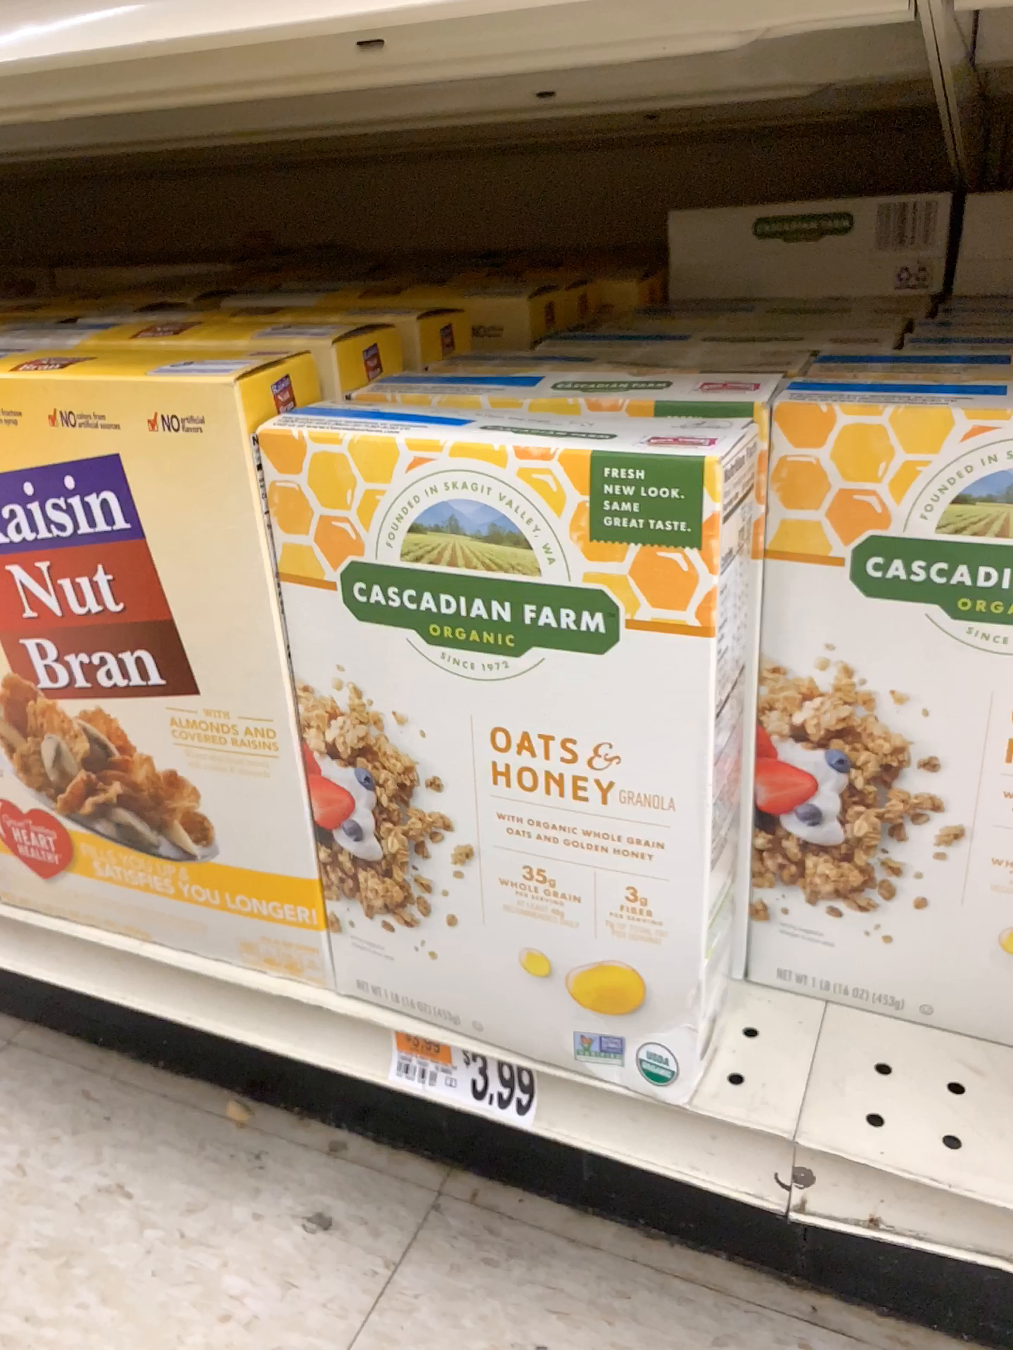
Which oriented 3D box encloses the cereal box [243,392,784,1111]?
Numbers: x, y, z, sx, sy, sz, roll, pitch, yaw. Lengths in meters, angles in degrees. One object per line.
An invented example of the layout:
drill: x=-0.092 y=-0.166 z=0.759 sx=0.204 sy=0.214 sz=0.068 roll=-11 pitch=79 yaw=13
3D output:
cereal box: x=0.005 y=0.023 z=0.376 sx=0.160 sy=0.229 sz=0.060 roll=9 pitch=27 yaw=25
